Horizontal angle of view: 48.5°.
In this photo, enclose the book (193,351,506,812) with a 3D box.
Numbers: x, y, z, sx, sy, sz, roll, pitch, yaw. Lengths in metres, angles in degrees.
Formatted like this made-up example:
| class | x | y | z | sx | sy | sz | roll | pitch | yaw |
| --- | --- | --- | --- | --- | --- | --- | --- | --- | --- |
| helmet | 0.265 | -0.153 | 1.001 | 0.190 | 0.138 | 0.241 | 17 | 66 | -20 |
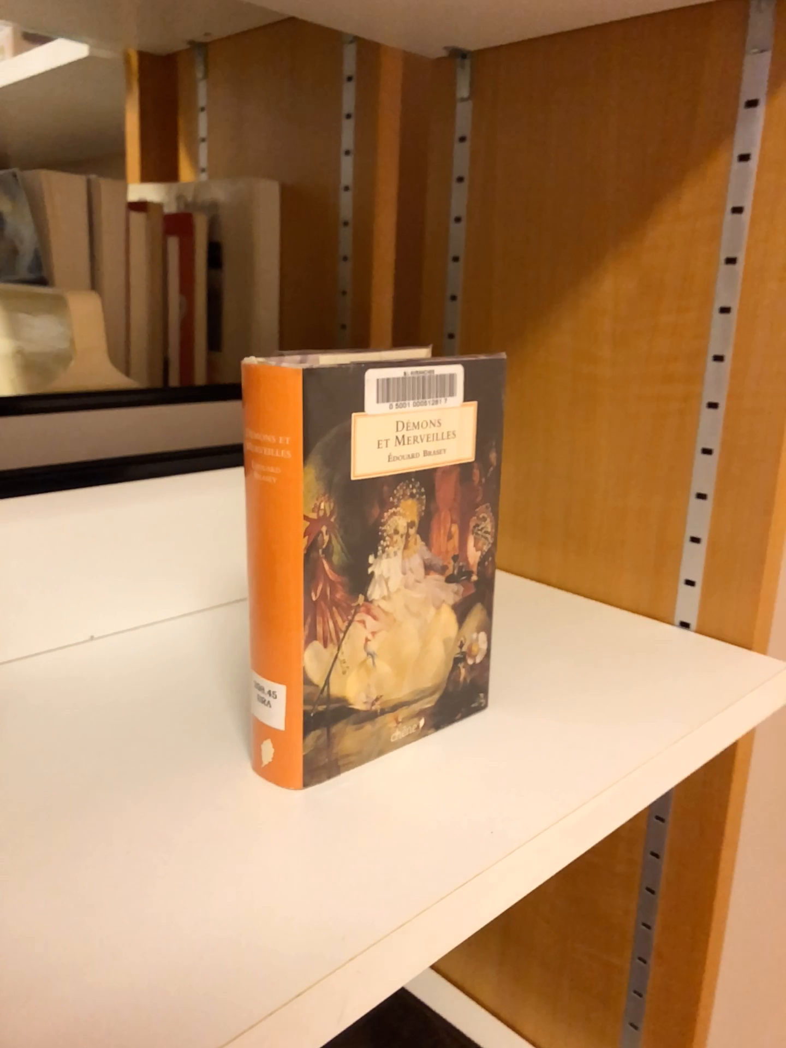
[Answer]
| class | x | y | z | sx | sy | sz | roll | pitch | yaw |
| --- | --- | --- | --- | --- | --- | --- | --- | --- | --- |
| book | -0.014 | 0.013 | 0.345 | 0.114 | 0.156 | 0.047 | -11 | 18 | -42 |
